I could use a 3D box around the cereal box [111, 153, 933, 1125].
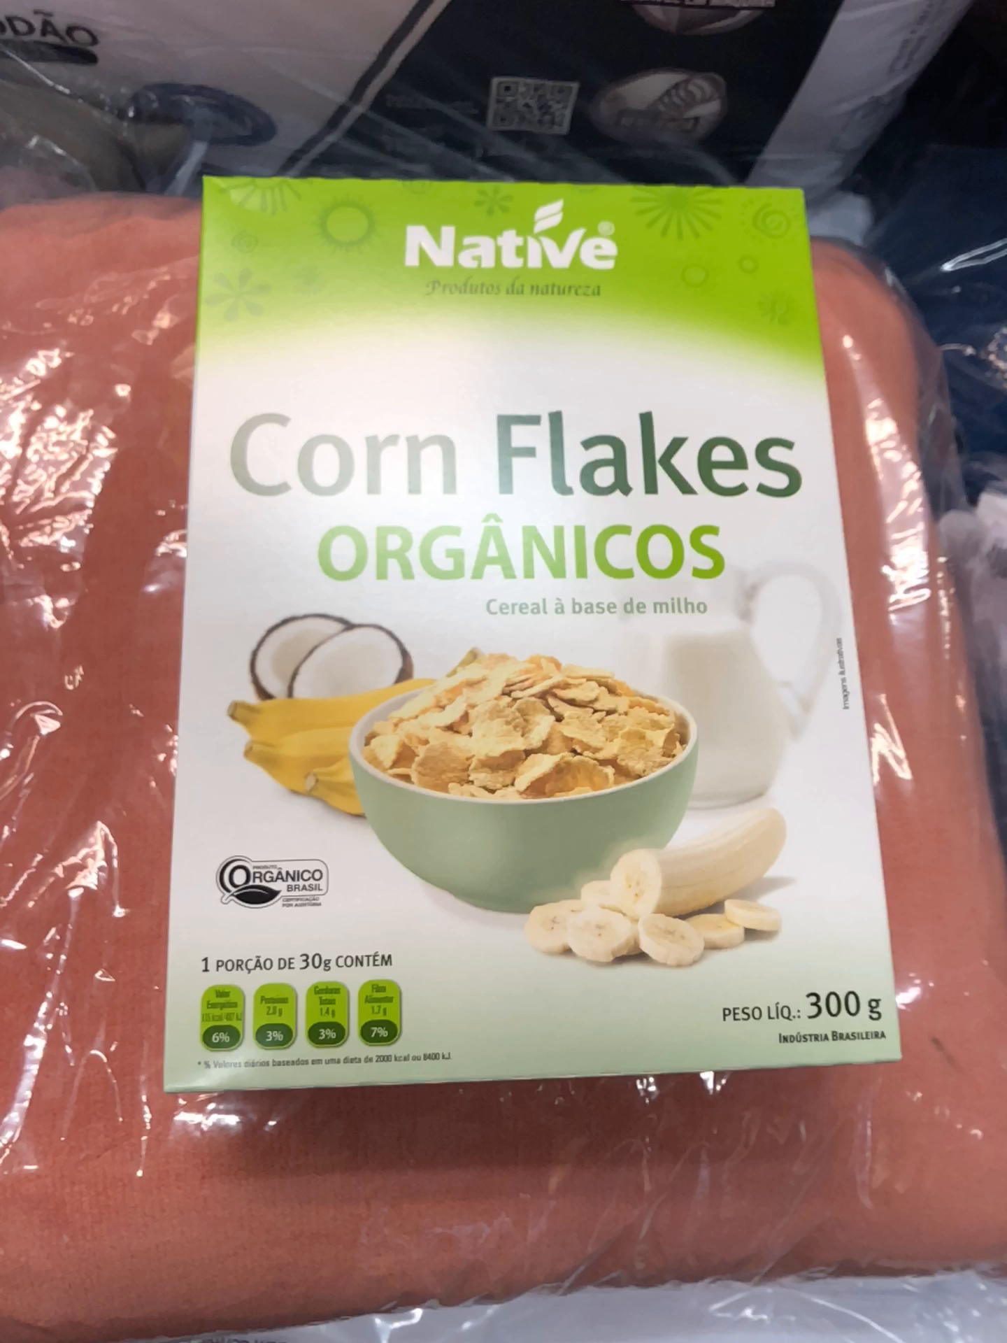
[{"bbox_3d":[0.001,-0.014,0.305,0.180,0.060,0.240,0,75,-7],"label":"cereal box"}]
